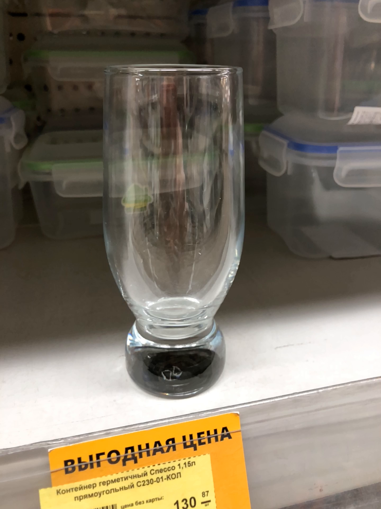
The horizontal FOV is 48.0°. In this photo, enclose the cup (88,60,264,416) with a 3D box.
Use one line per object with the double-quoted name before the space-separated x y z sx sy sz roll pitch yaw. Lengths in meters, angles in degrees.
"cup" -0.010 -0.009 0.200 0.057 0.146 0.069 -3 25 -8
